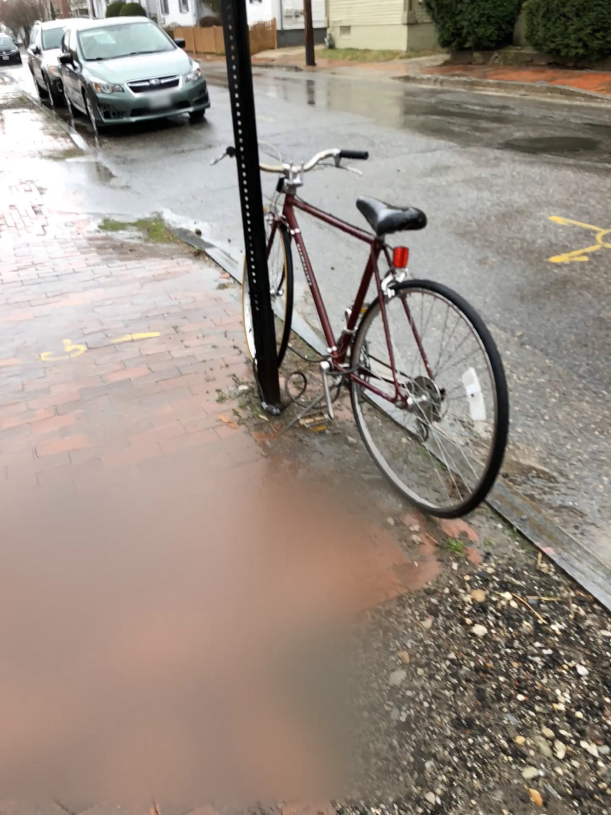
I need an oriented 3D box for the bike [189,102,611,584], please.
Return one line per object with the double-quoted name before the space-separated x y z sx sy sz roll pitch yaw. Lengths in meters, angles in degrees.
"bike" 0.151 -0.394 2.174 0.500 0.907 1.613 -15 34 -22
